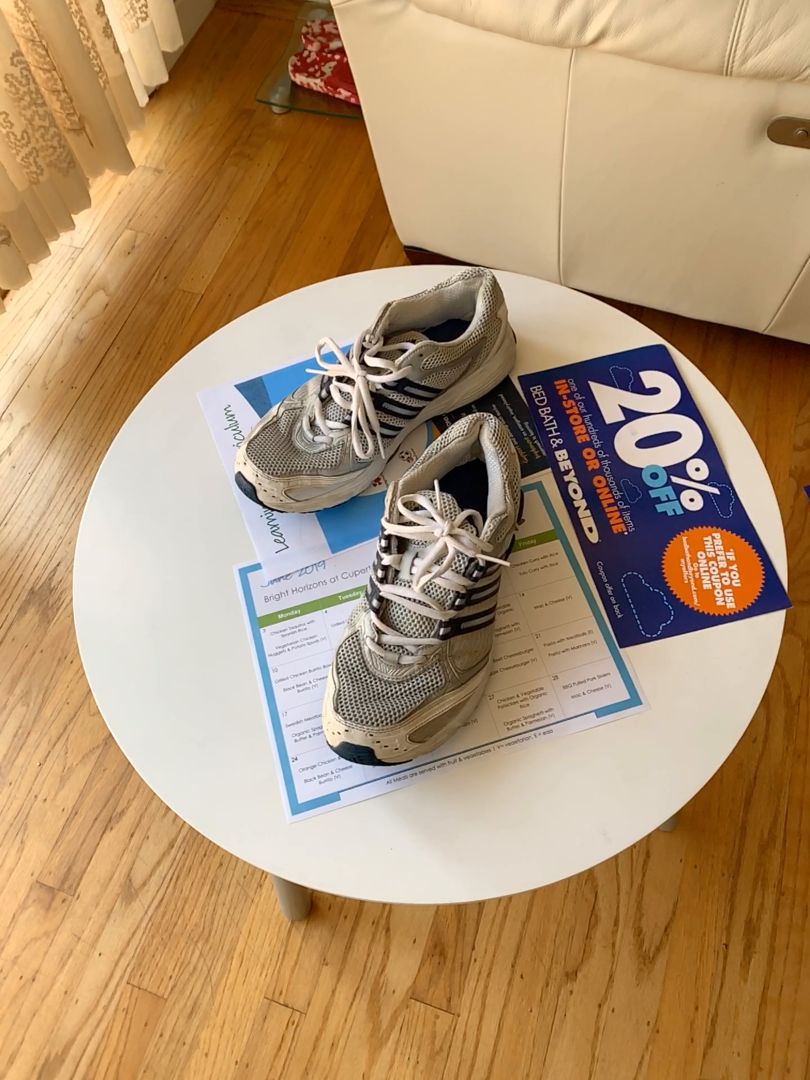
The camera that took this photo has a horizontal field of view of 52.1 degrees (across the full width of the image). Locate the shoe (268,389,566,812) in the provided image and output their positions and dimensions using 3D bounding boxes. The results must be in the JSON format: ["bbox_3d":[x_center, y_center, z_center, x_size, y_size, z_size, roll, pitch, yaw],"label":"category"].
[{"bbox_3d":[0.019,0.035,0.610,0.120,0.080,0.280,16,64,12],"label":"shoe"}]

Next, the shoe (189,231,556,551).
[{"bbox_3d":[-0.020,-0.127,0.686,0.280,0.080,0.110,-36,65,-14],"label":"shoe"}]
